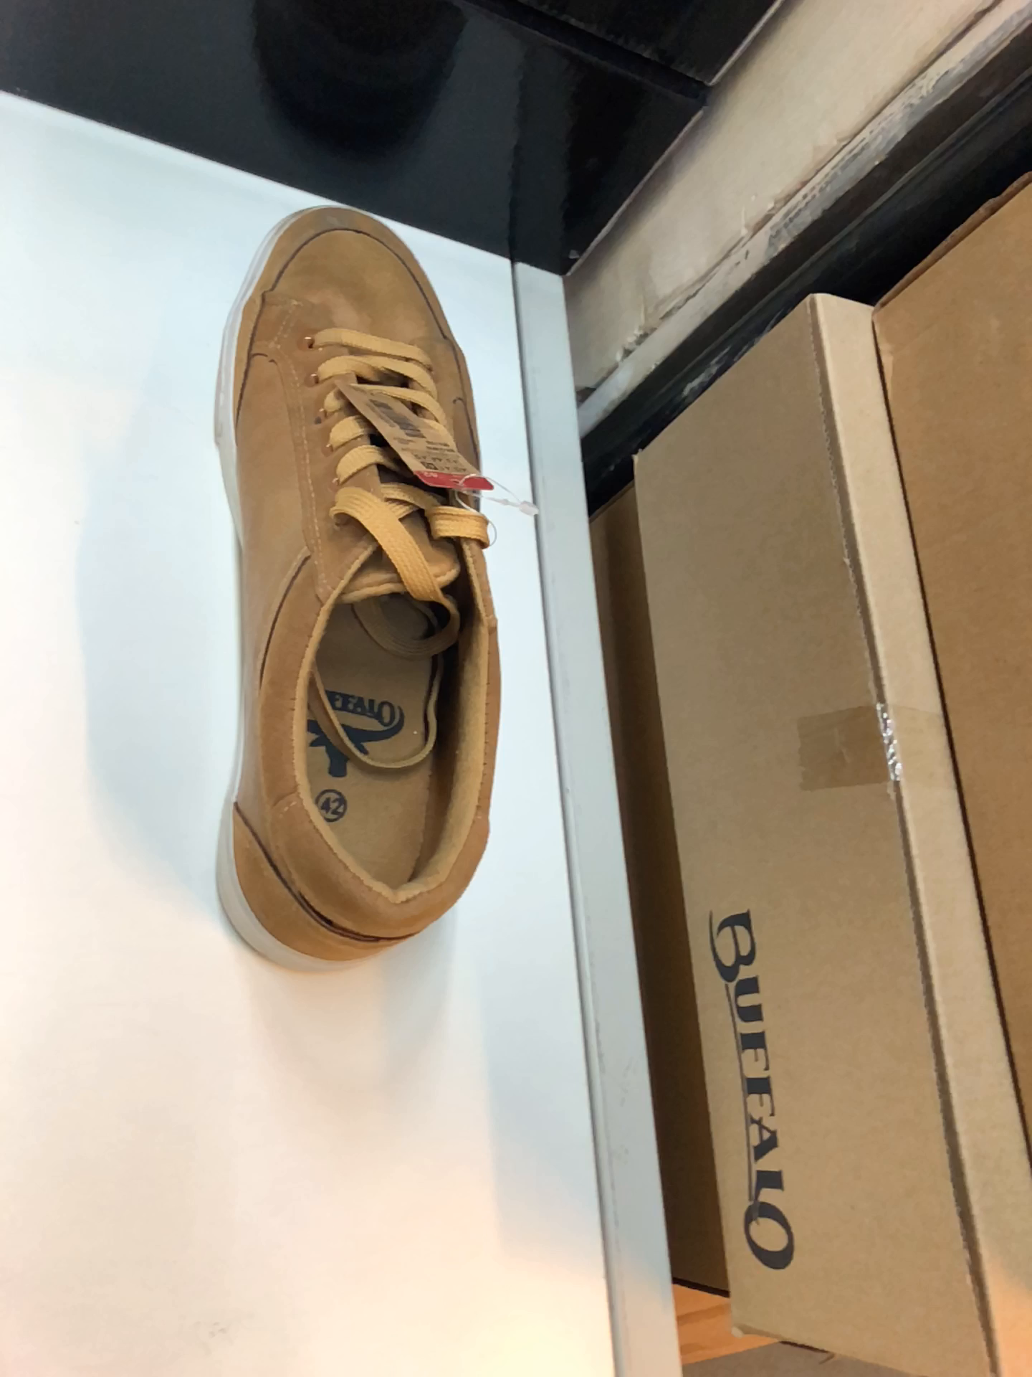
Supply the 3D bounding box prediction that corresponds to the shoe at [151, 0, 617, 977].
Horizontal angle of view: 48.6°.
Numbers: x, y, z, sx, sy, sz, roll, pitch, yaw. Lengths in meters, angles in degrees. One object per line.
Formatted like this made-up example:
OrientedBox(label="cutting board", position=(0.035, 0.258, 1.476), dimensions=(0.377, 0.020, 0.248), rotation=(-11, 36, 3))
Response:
OrientedBox(label="shoe", position=(-0.046, -0.060, 0.383), dimensions=(0.105, 0.104, 0.295), rotation=(8, 69, -27))
